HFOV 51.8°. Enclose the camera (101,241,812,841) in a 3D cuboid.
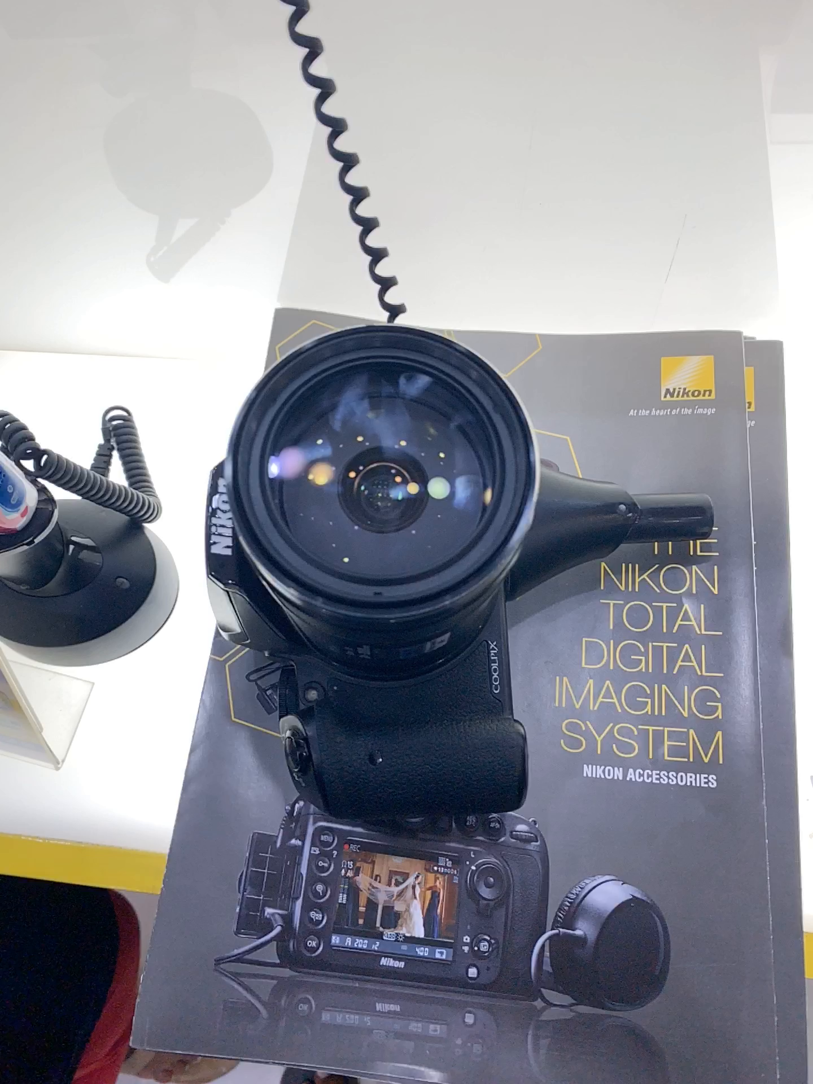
[{"bbox_3d":[0.035,0.007,0.242,0.200,0.100,0.140,0,67,-5],"label":"camera"}]
